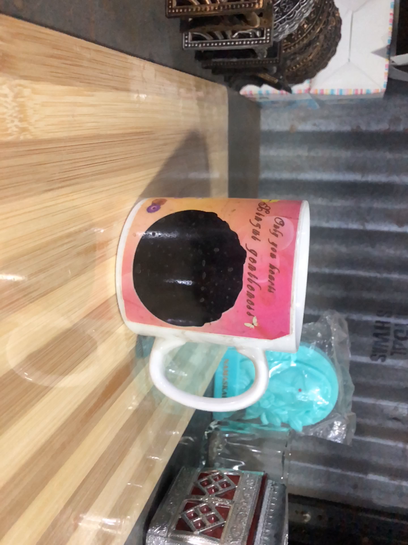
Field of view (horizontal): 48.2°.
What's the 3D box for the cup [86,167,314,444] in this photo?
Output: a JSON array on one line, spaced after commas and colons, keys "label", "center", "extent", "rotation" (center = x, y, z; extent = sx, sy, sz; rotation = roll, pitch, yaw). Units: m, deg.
[{"label": "cup", "center": [0.009, 0.020, 0.250], "extent": [0.090, 0.090, 0.120], "rotation": [51, 45, -69]}]
